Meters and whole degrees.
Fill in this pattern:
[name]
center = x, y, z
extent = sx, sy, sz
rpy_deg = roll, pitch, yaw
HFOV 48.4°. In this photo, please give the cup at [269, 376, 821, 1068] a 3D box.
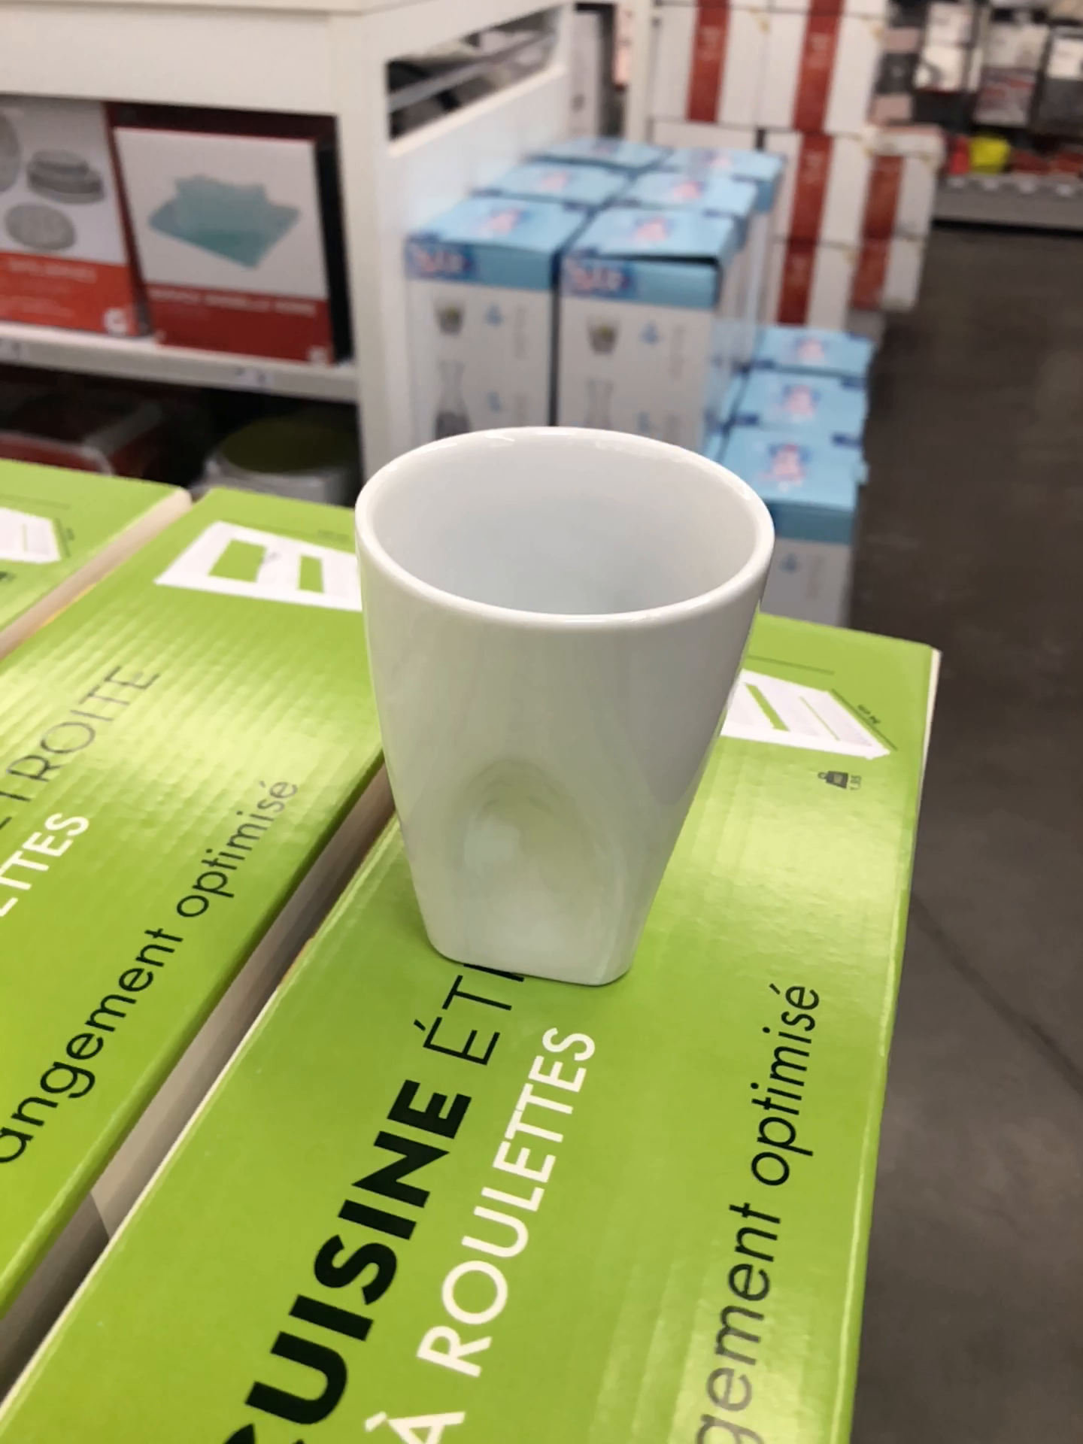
[cup]
center = 0.008, -0.008, 0.254
extent = 0.083, 0.087, 0.112
rpy_deg = 8, 35, 10
